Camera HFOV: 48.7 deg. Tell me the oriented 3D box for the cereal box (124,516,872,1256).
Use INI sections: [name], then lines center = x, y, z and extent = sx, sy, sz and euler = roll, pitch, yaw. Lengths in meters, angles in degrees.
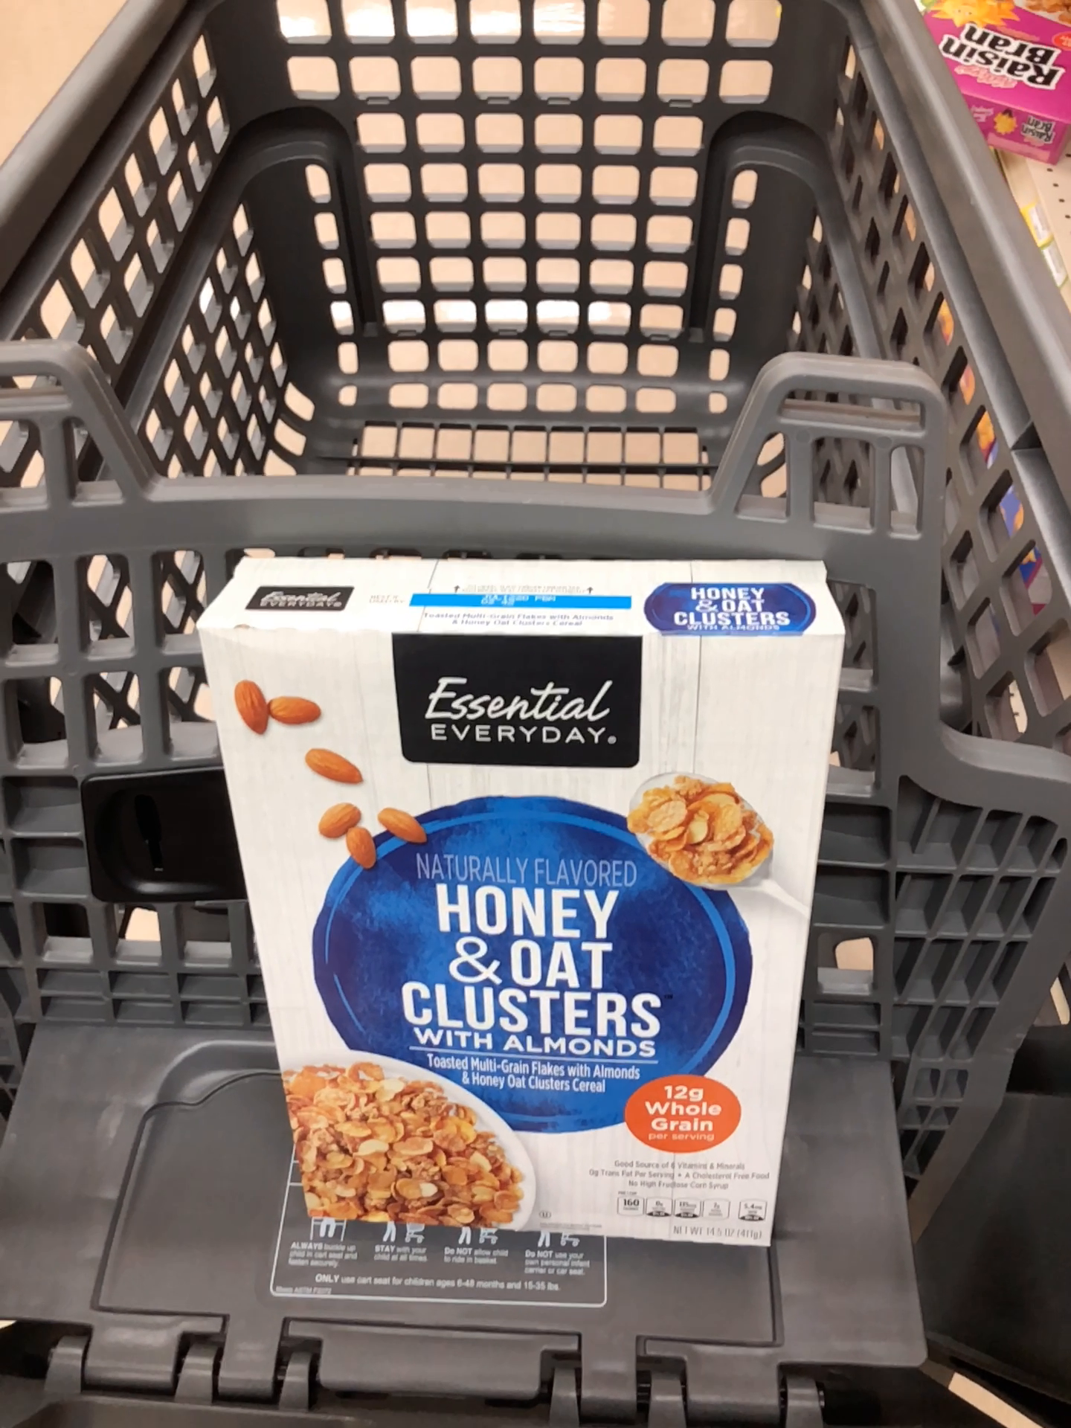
[cereal box]
center = -0.008, 0.074, 0.427
extent = 0.210, 0.280, 0.060
euler = 2, 31, 5
